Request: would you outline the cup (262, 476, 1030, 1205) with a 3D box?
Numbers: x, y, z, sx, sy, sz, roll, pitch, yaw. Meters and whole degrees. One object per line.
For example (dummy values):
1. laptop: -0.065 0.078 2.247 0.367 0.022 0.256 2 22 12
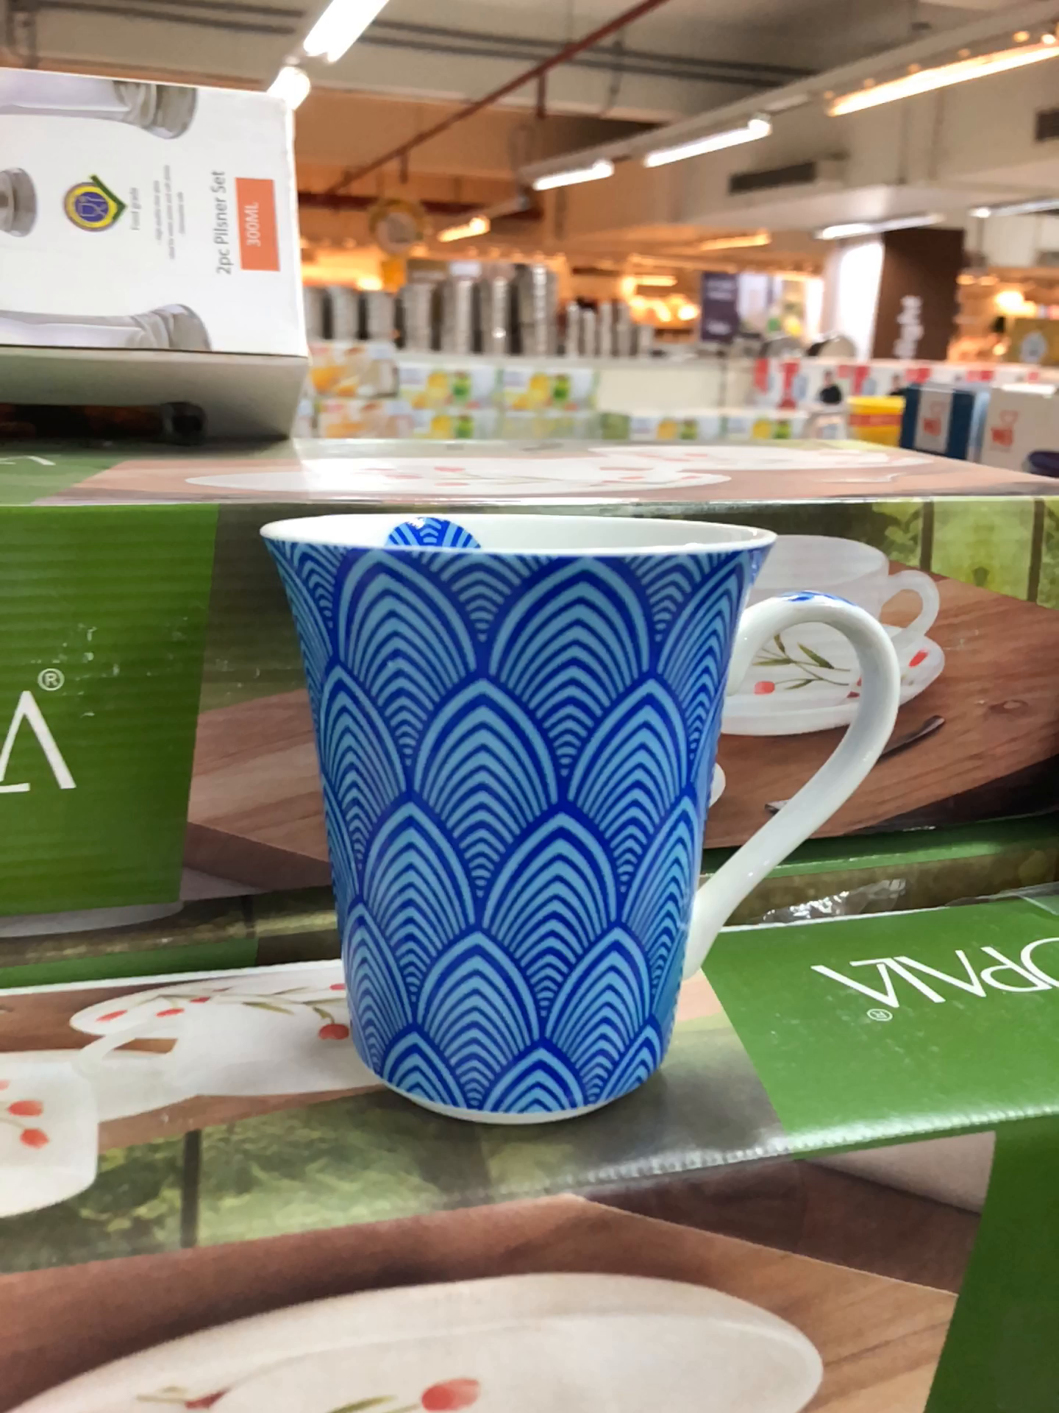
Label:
1. cup: 0.010 0.014 0.213 0.110 0.100 0.080 -2 18 -12
